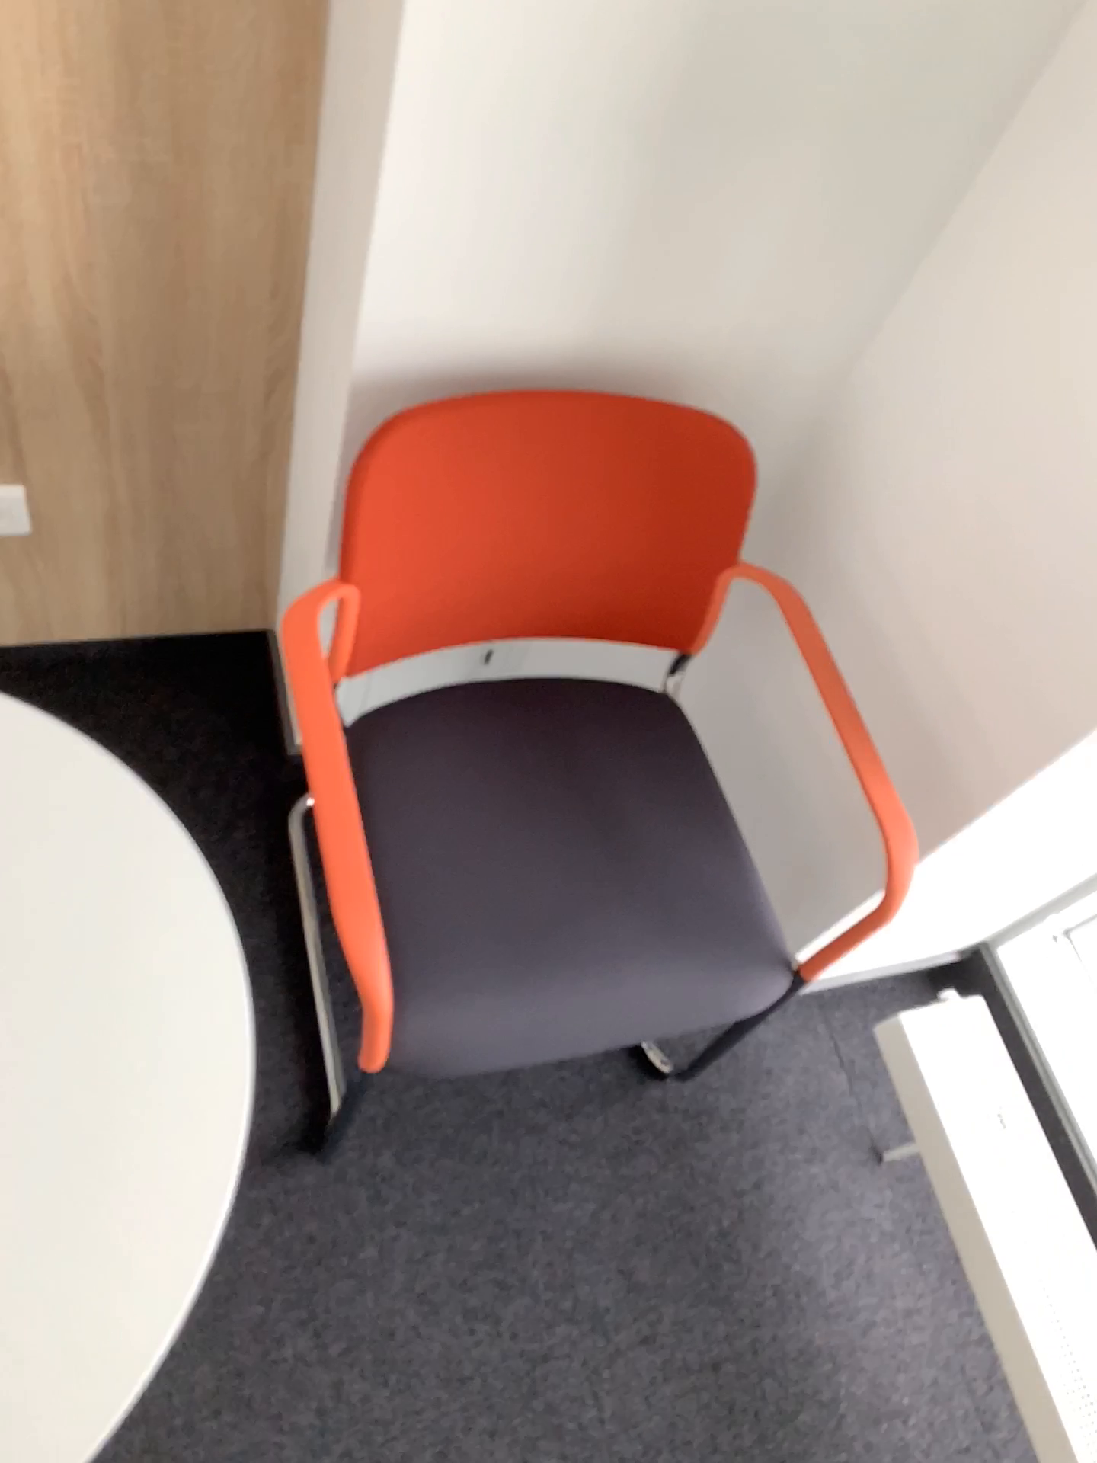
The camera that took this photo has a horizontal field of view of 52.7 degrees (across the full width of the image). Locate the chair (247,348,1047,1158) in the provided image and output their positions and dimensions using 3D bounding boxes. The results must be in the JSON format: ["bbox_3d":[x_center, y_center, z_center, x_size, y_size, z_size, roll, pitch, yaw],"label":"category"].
[{"bbox_3d":[-0.013,0.073,1.278,0.571,0.777,0.561,-5,61,-20],"label":"chair"}]
